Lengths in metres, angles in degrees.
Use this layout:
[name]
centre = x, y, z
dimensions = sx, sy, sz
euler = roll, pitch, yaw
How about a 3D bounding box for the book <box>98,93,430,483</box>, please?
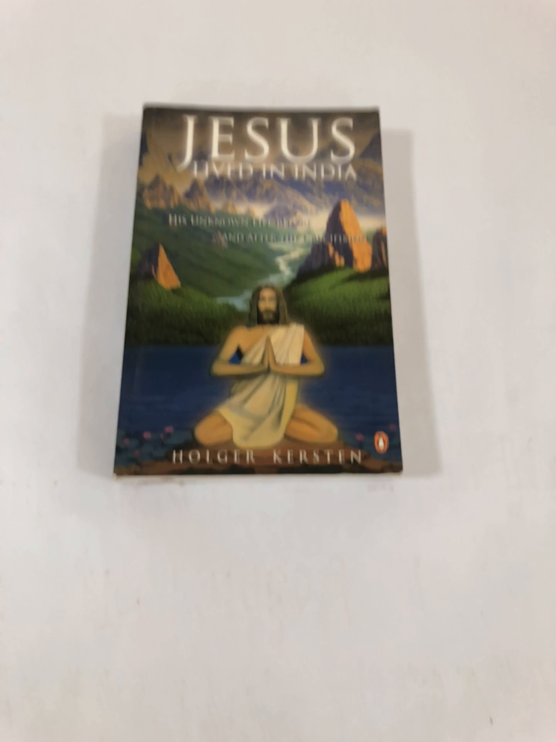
[book]
centre = -0.006, -0.049, 0.330
dimensions = 0.150, 0.030, 0.210
euler = 1, 71, -2
